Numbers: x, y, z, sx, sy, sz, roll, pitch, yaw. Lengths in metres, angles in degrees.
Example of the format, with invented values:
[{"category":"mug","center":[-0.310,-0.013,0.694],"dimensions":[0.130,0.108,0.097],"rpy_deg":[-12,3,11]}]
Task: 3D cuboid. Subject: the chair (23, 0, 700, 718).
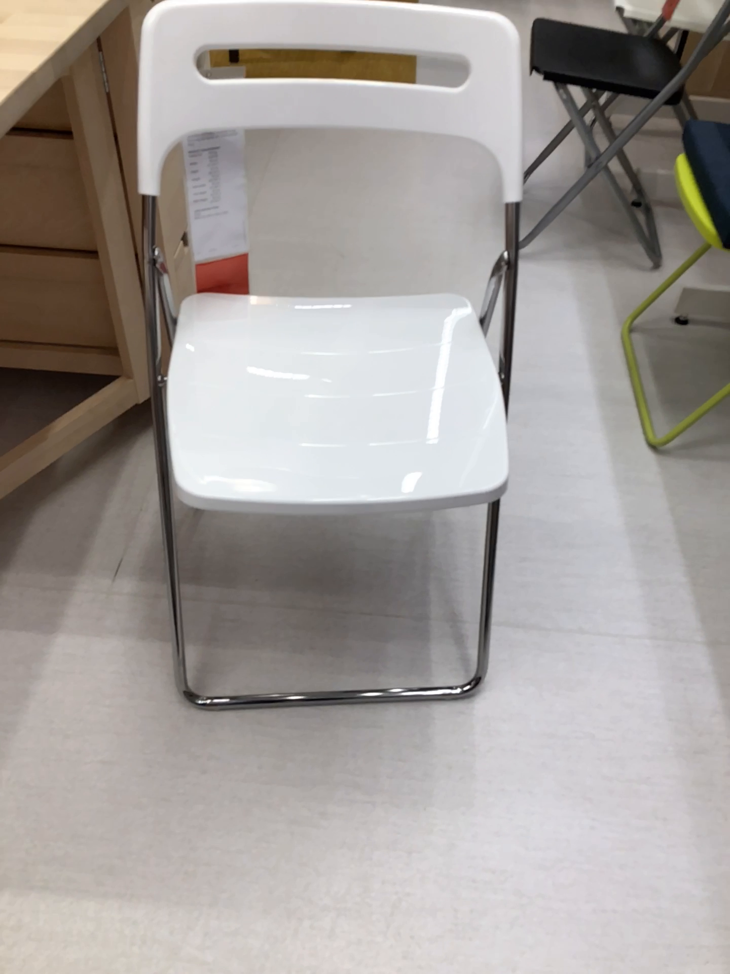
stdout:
[{"category":"chair","center":[-0.026,-0.114,0.917],"dimensions":[0.440,0.716,0.423],"rpy_deg":[-1,45,-5]}]
